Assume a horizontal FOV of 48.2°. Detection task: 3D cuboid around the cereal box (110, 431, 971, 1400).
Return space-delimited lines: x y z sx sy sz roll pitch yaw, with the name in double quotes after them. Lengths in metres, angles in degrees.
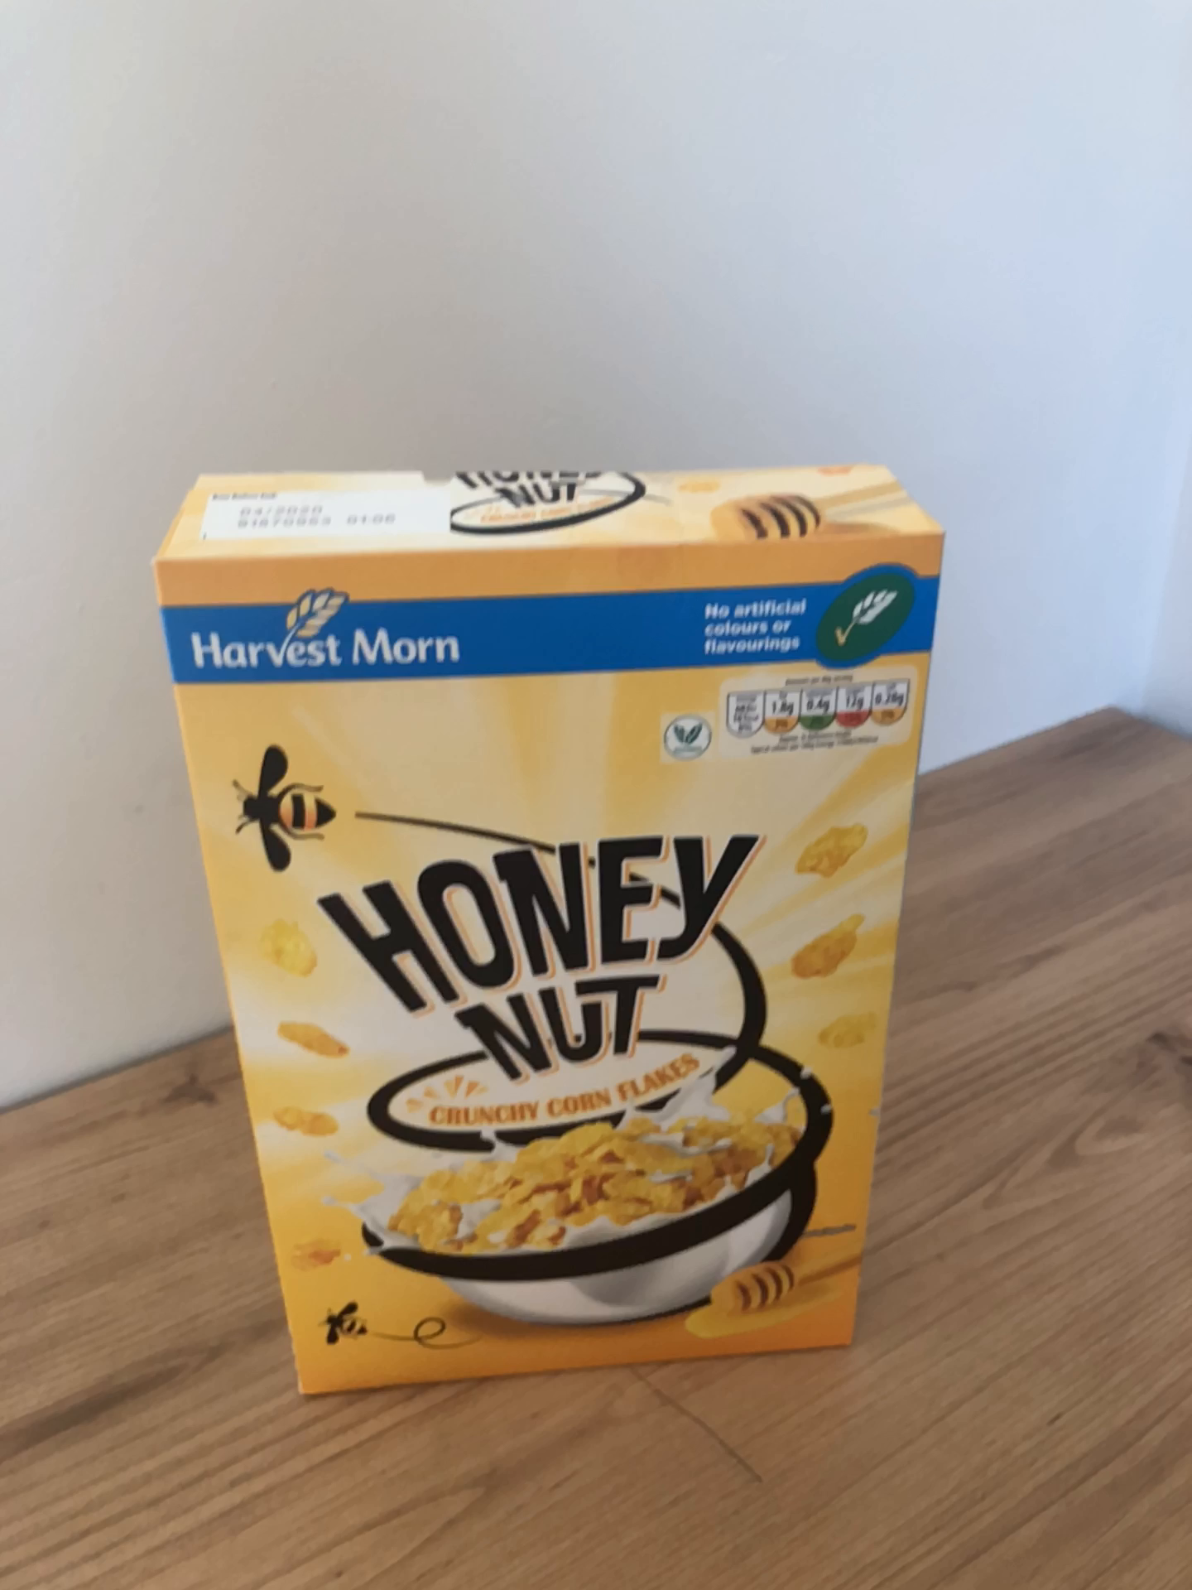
-0.011 0.050 0.406 0.200 0.298 0.060 -3 29 -4 "cereal box"
